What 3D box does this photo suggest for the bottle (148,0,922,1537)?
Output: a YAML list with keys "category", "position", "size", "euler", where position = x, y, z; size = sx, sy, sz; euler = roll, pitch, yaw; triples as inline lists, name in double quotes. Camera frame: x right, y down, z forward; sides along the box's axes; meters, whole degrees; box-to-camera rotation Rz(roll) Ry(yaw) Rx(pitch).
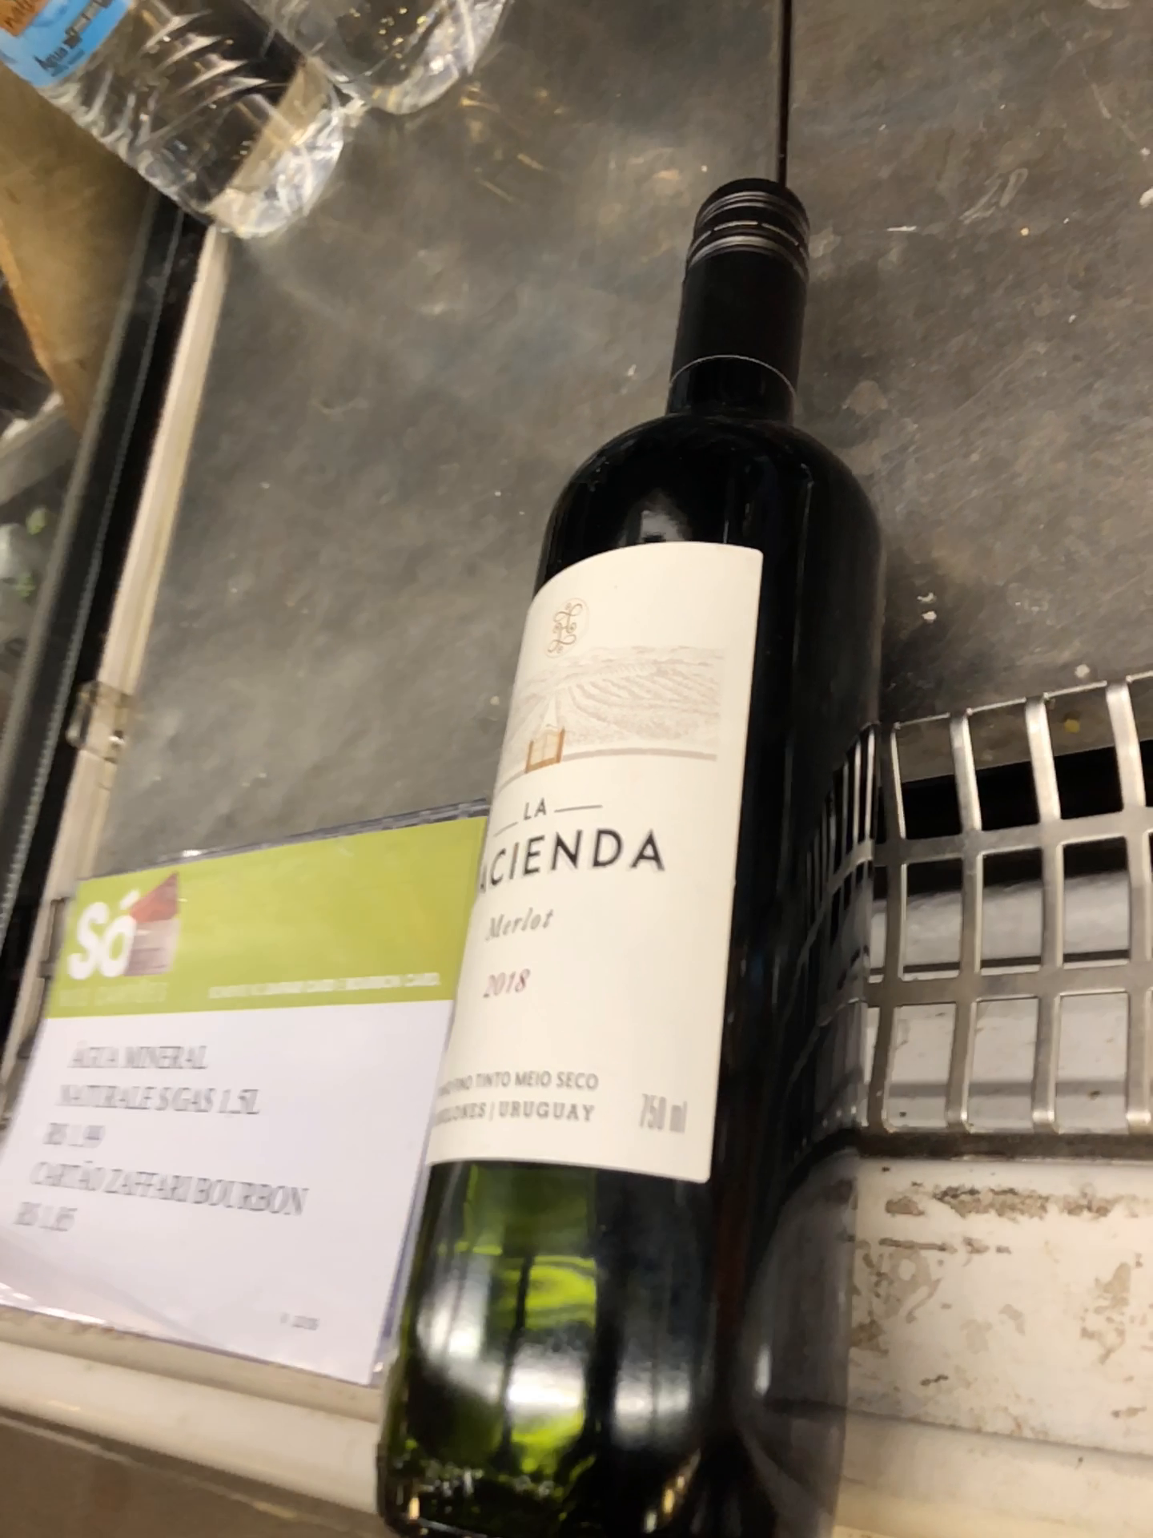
- category: "bottle"
  position: [0.011, -0.020, 0.251]
  size: [0.080, 0.070, 0.300]
  euler: [-13, 57, 39]
